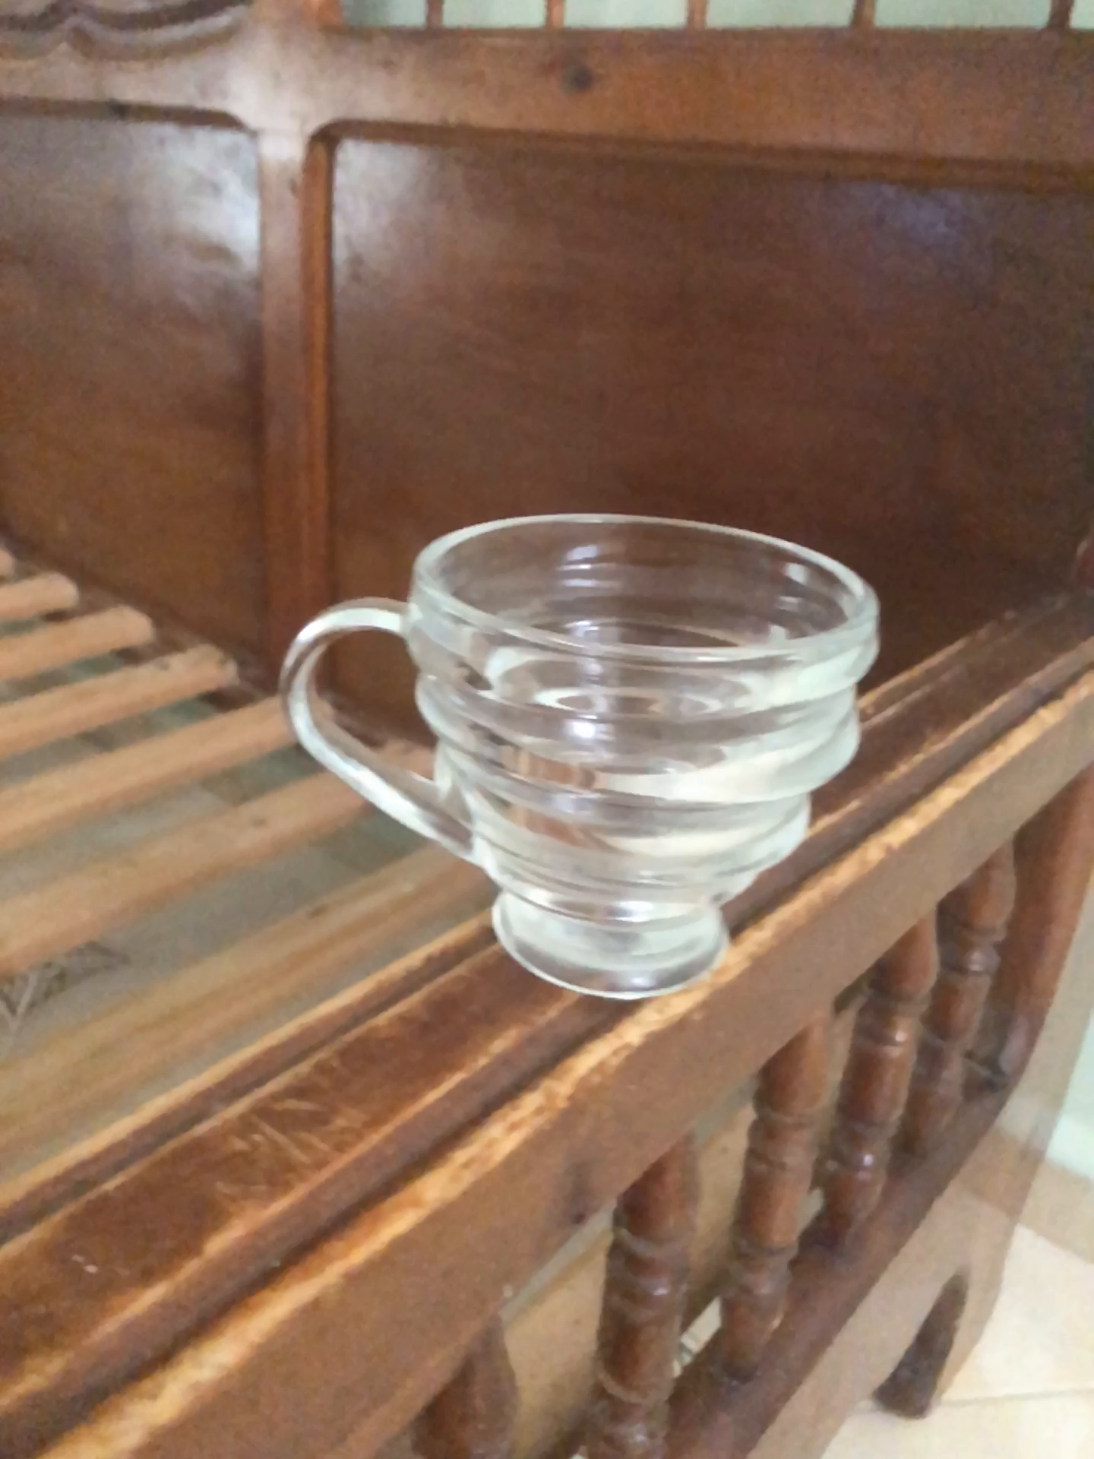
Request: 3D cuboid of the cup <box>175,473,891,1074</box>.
[{"bbox_3d":[0.002,0.000,0.221,0.106,0.065,0.076,10,25,12],"label":"cup"}]
